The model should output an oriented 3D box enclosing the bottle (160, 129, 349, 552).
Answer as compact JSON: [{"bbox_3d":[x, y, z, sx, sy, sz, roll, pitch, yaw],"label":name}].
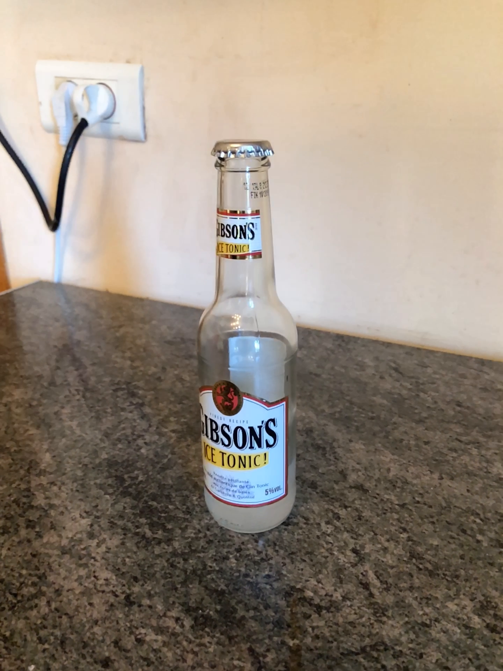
[{"bbox_3d":[0.004,0.003,0.297,0.070,0.209,0.060,9,24,21],"label":"bottle"}]
